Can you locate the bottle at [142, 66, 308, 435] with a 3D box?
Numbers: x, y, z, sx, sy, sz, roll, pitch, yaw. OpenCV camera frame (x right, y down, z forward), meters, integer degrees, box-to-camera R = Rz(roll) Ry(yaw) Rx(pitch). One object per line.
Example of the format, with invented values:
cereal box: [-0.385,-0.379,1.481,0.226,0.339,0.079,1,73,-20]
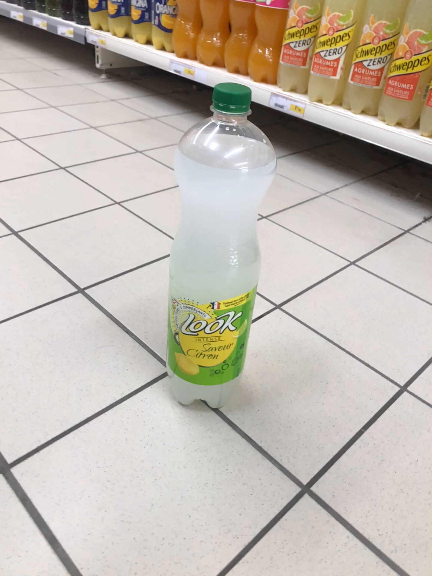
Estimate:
bottle: [-0.001,-0.018,0.430,0.100,0.308,0.101,5,34,-3]
